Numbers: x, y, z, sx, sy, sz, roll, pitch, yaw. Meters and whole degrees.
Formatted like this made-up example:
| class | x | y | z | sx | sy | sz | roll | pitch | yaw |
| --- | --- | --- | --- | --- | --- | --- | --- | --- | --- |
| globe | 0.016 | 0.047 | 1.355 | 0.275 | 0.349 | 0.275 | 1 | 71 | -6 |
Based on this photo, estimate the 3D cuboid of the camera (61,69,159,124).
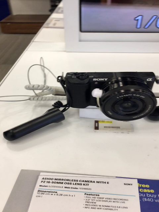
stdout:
| class | x | y | z | sx | sy | sz | roll | pitch | yaw |
| --- | --- | --- | --- | --- | --- | --- | --- | --- | --- |
| camera | 0.042 | -0.012 | 0.297 | 0.128 | 0.065 | 0.047 | -2 | 42 | 0 |
